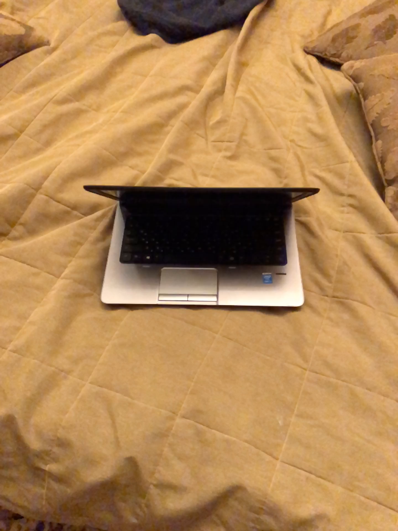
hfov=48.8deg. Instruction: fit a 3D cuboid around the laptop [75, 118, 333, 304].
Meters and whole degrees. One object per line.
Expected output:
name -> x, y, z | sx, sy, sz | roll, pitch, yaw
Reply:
laptop -> 0.009, -0.085, 0.705 | 0.331, 0.189, 0.226 | 1, 56, 0
